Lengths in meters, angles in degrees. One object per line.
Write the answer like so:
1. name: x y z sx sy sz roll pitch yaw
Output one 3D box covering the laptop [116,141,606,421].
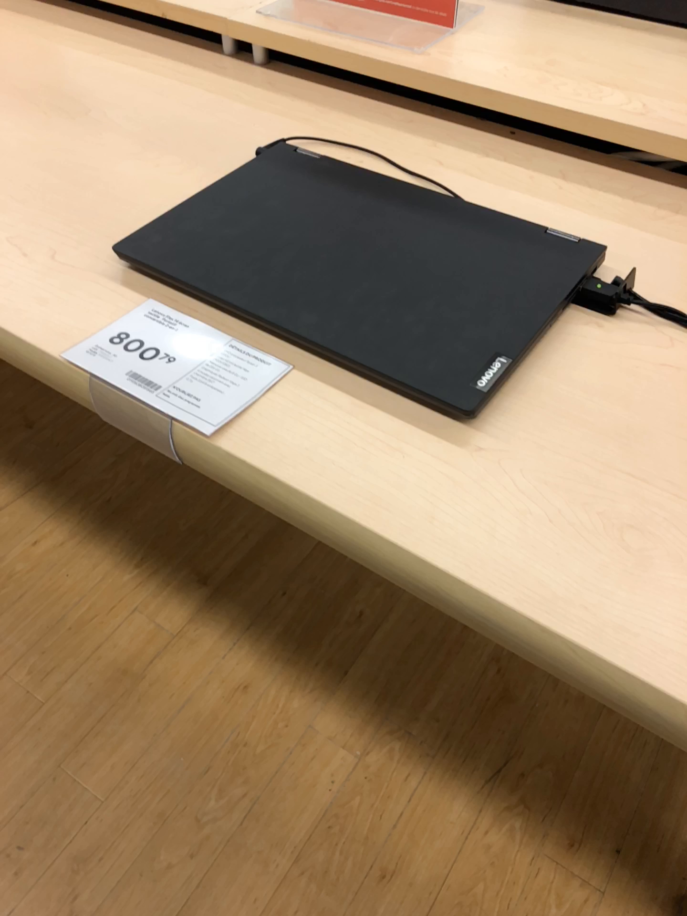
1. laptop: 0.012 -0.163 0.611 0.326 0.009 0.212 27 56 22
